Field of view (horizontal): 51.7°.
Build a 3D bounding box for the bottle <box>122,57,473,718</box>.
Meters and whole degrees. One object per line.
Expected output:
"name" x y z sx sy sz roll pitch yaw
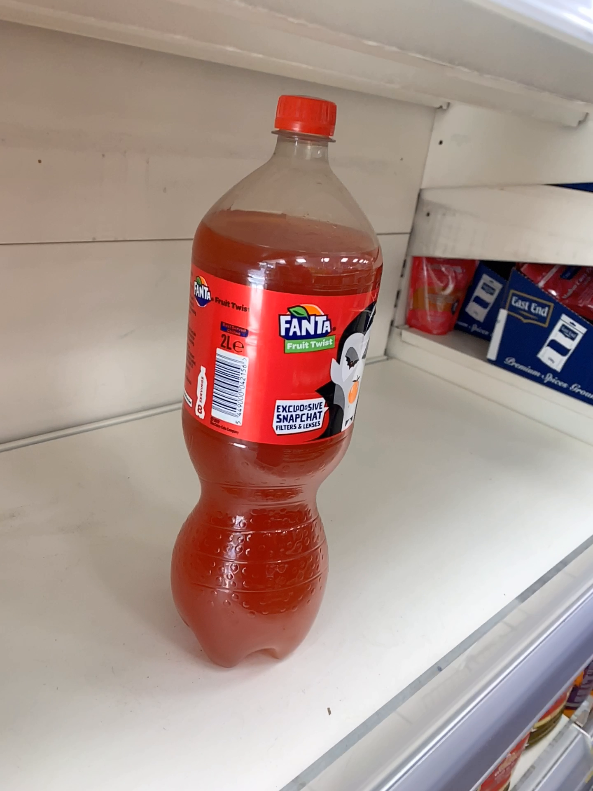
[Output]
"bottle" -0.014 0.000 0.357 0.110 0.327 0.121 7 24 -3
